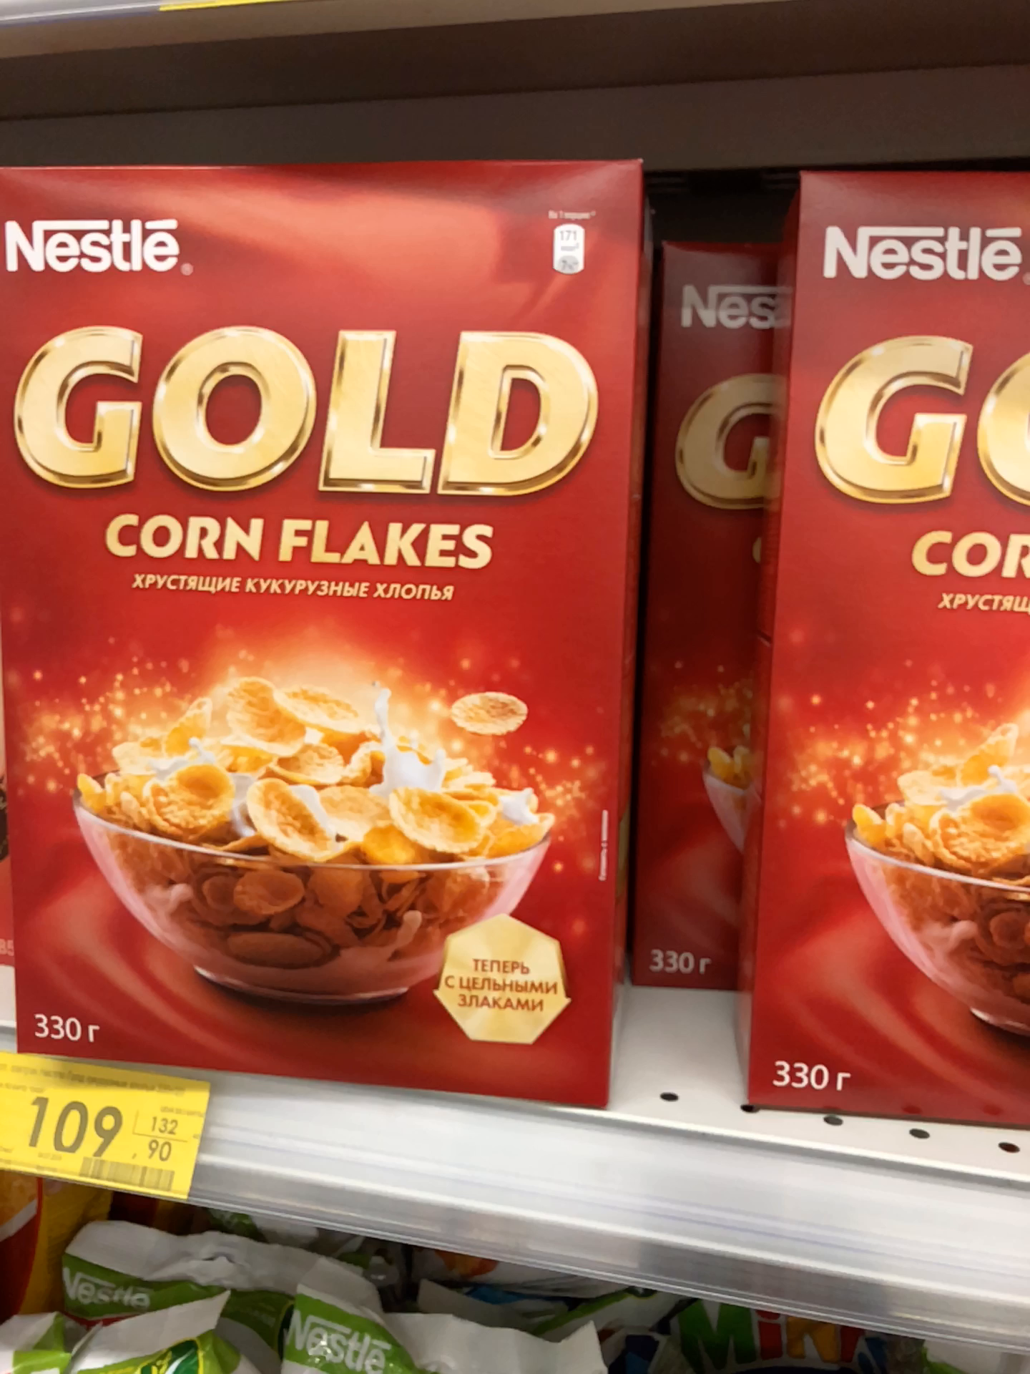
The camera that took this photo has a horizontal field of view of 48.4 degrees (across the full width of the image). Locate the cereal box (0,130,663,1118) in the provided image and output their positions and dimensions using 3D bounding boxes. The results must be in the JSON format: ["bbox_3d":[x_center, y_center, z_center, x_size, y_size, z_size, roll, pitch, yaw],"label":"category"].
[{"bbox_3d":[-0.060,-0.018,0.366,0.200,0.279,0.060,2,9,8],"label":"cereal box"}]
